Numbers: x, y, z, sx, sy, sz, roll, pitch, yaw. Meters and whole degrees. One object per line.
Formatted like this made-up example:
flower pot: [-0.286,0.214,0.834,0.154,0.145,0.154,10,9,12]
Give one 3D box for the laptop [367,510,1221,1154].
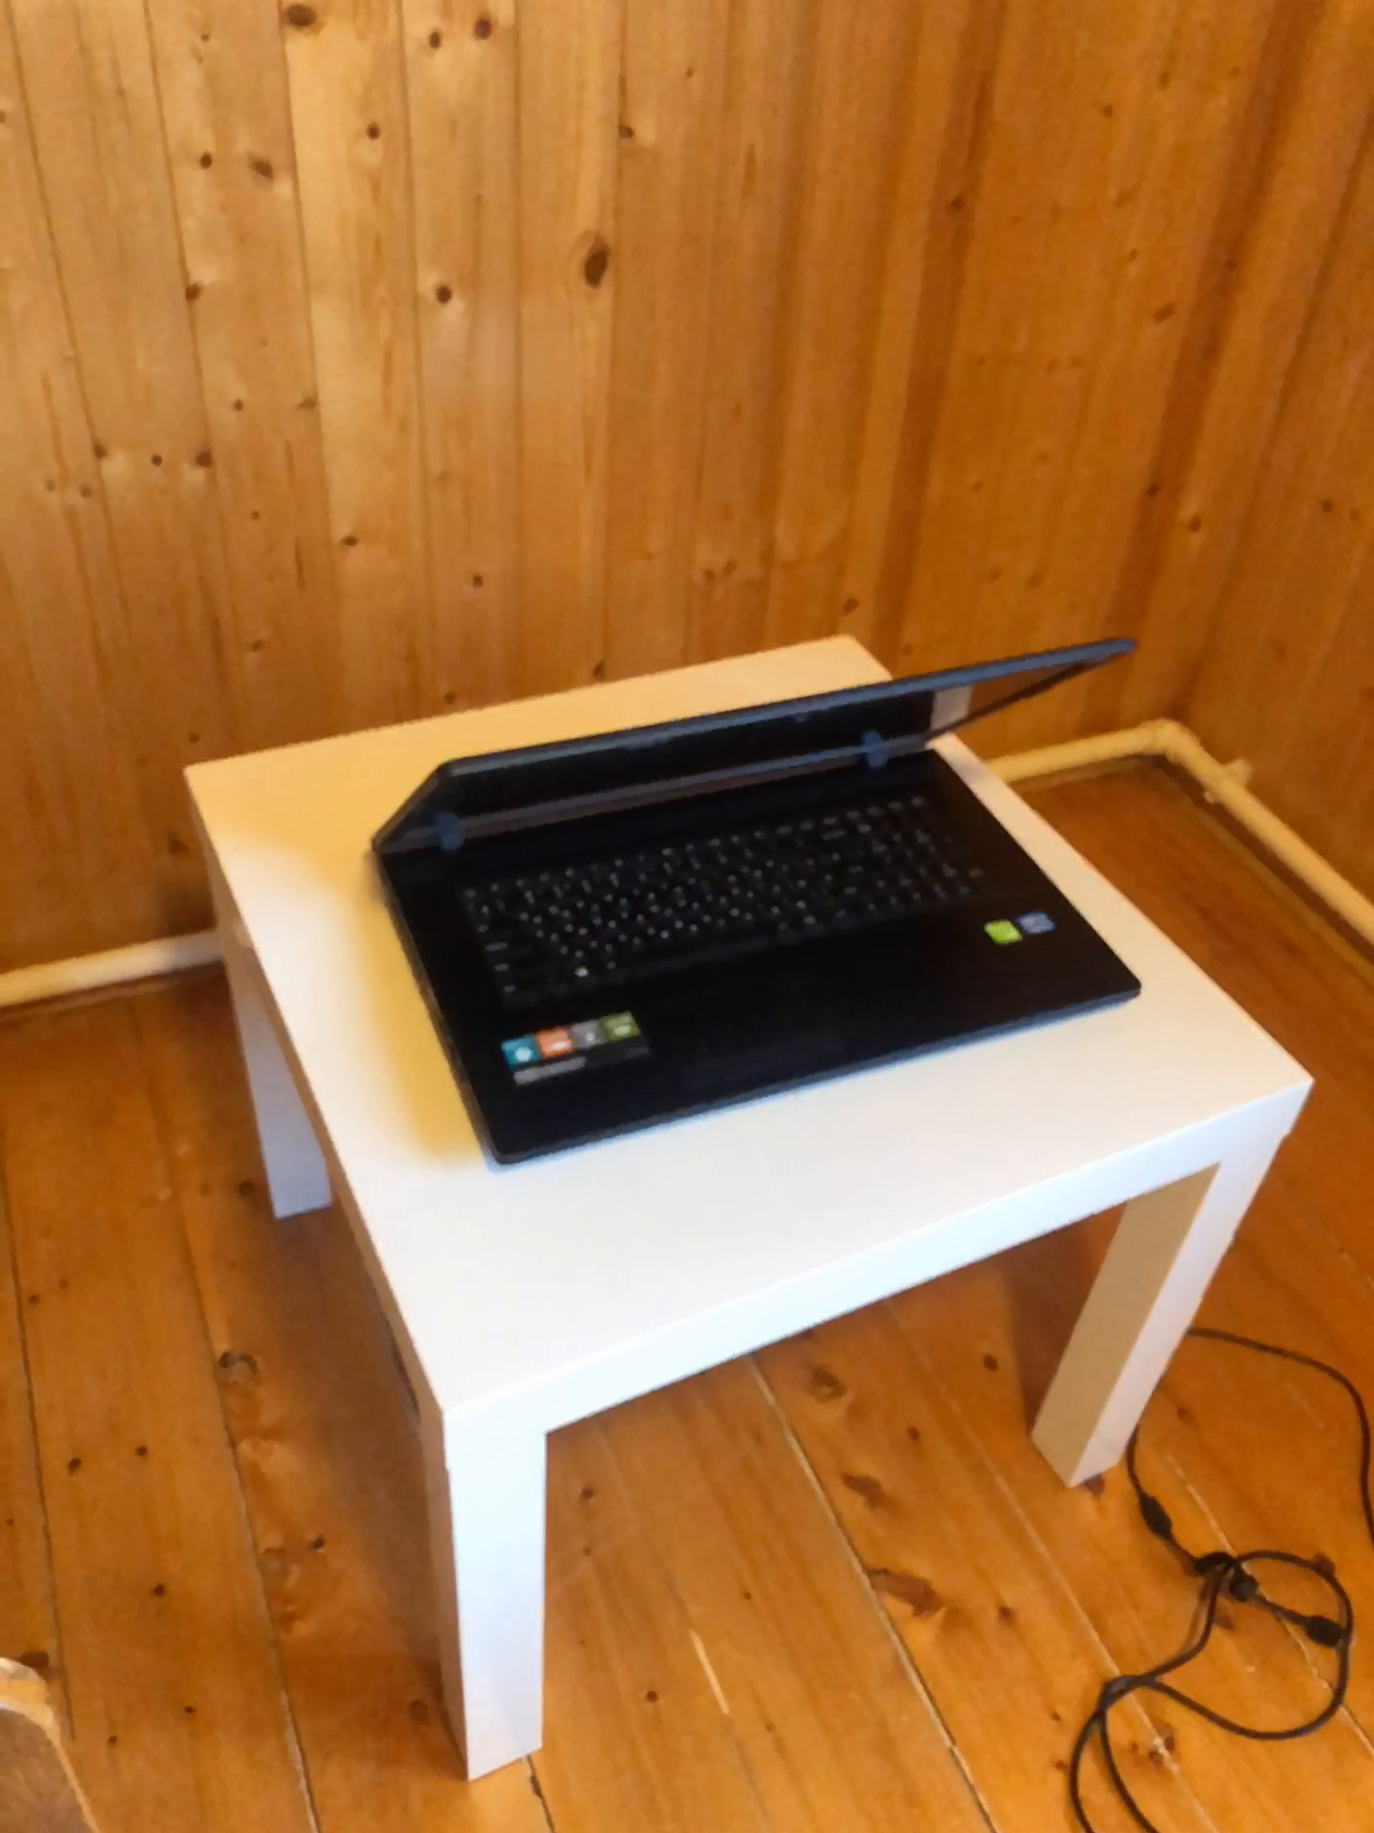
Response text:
laptop: [0.049,-0.070,0.878,0.402,0.183,0.252,-12,44,-22]
